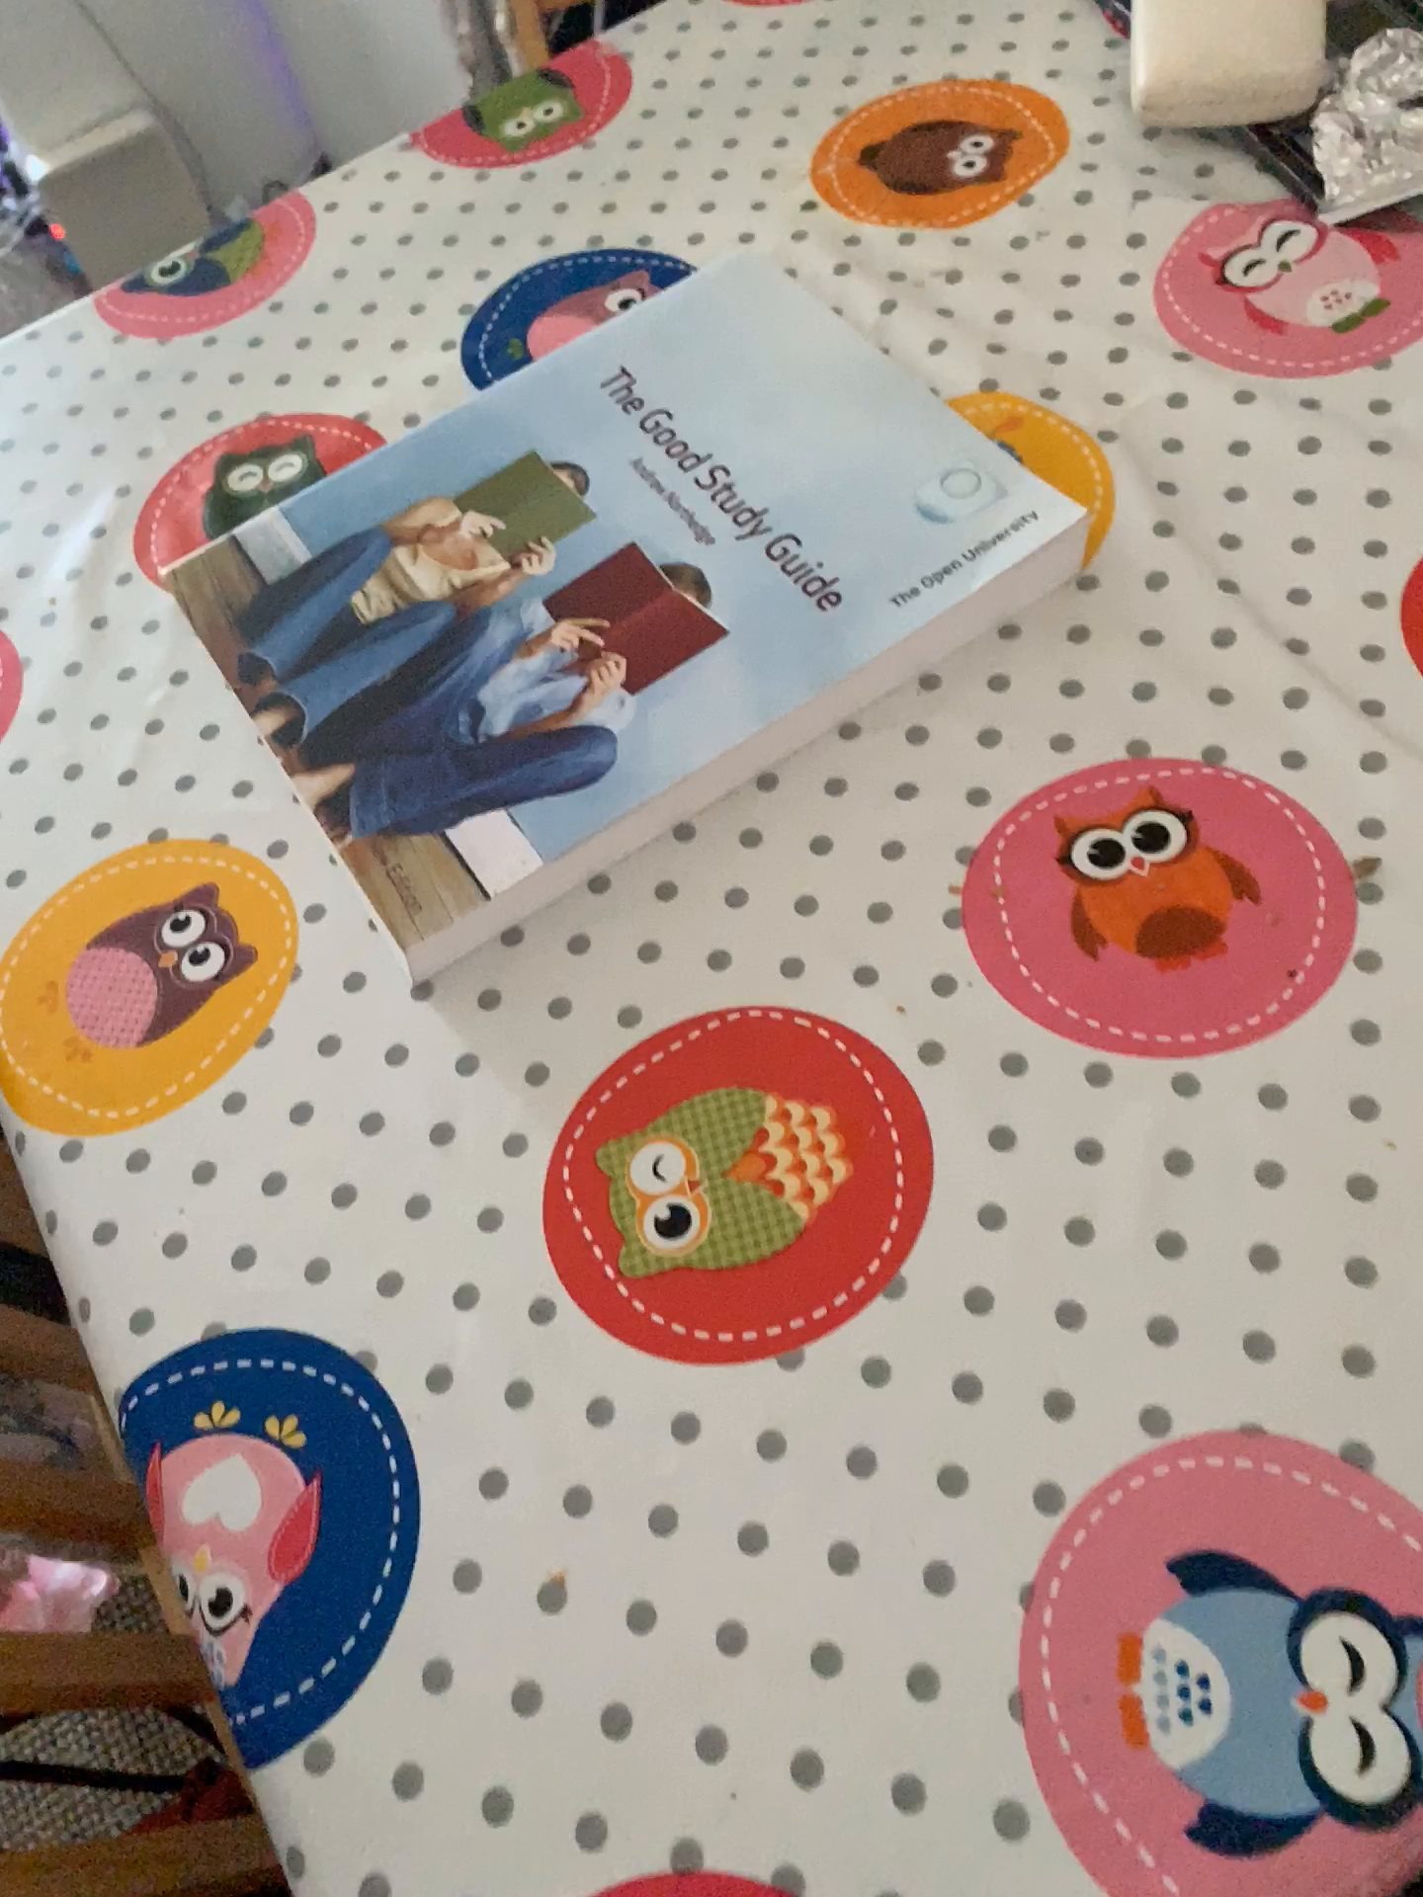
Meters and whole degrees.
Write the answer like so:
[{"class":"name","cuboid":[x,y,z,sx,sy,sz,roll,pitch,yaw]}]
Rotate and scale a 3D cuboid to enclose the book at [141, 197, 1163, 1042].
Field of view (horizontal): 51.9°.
[{"class":"book","cuboid":[-0.028,-0.124,0.477,0.260,0.030,0.211,-33,60,-8]}]
